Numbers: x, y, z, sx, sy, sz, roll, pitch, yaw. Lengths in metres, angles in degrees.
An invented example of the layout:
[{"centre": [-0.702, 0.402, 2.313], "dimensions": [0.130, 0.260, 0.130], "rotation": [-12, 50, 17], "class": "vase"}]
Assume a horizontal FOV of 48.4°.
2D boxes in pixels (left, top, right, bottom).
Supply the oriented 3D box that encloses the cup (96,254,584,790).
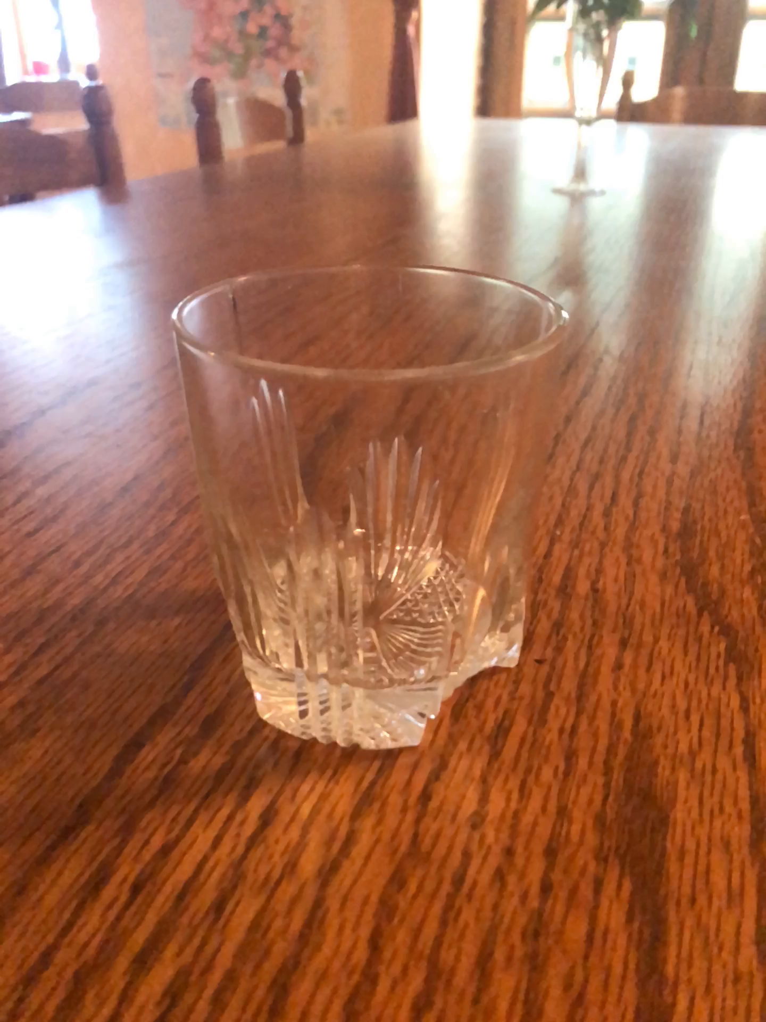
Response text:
[{"centre": [-0.001, -0.006, 0.194], "dimensions": [0.080, 0.084, 0.085], "rotation": [0, 28, 0], "class": "cup"}]
